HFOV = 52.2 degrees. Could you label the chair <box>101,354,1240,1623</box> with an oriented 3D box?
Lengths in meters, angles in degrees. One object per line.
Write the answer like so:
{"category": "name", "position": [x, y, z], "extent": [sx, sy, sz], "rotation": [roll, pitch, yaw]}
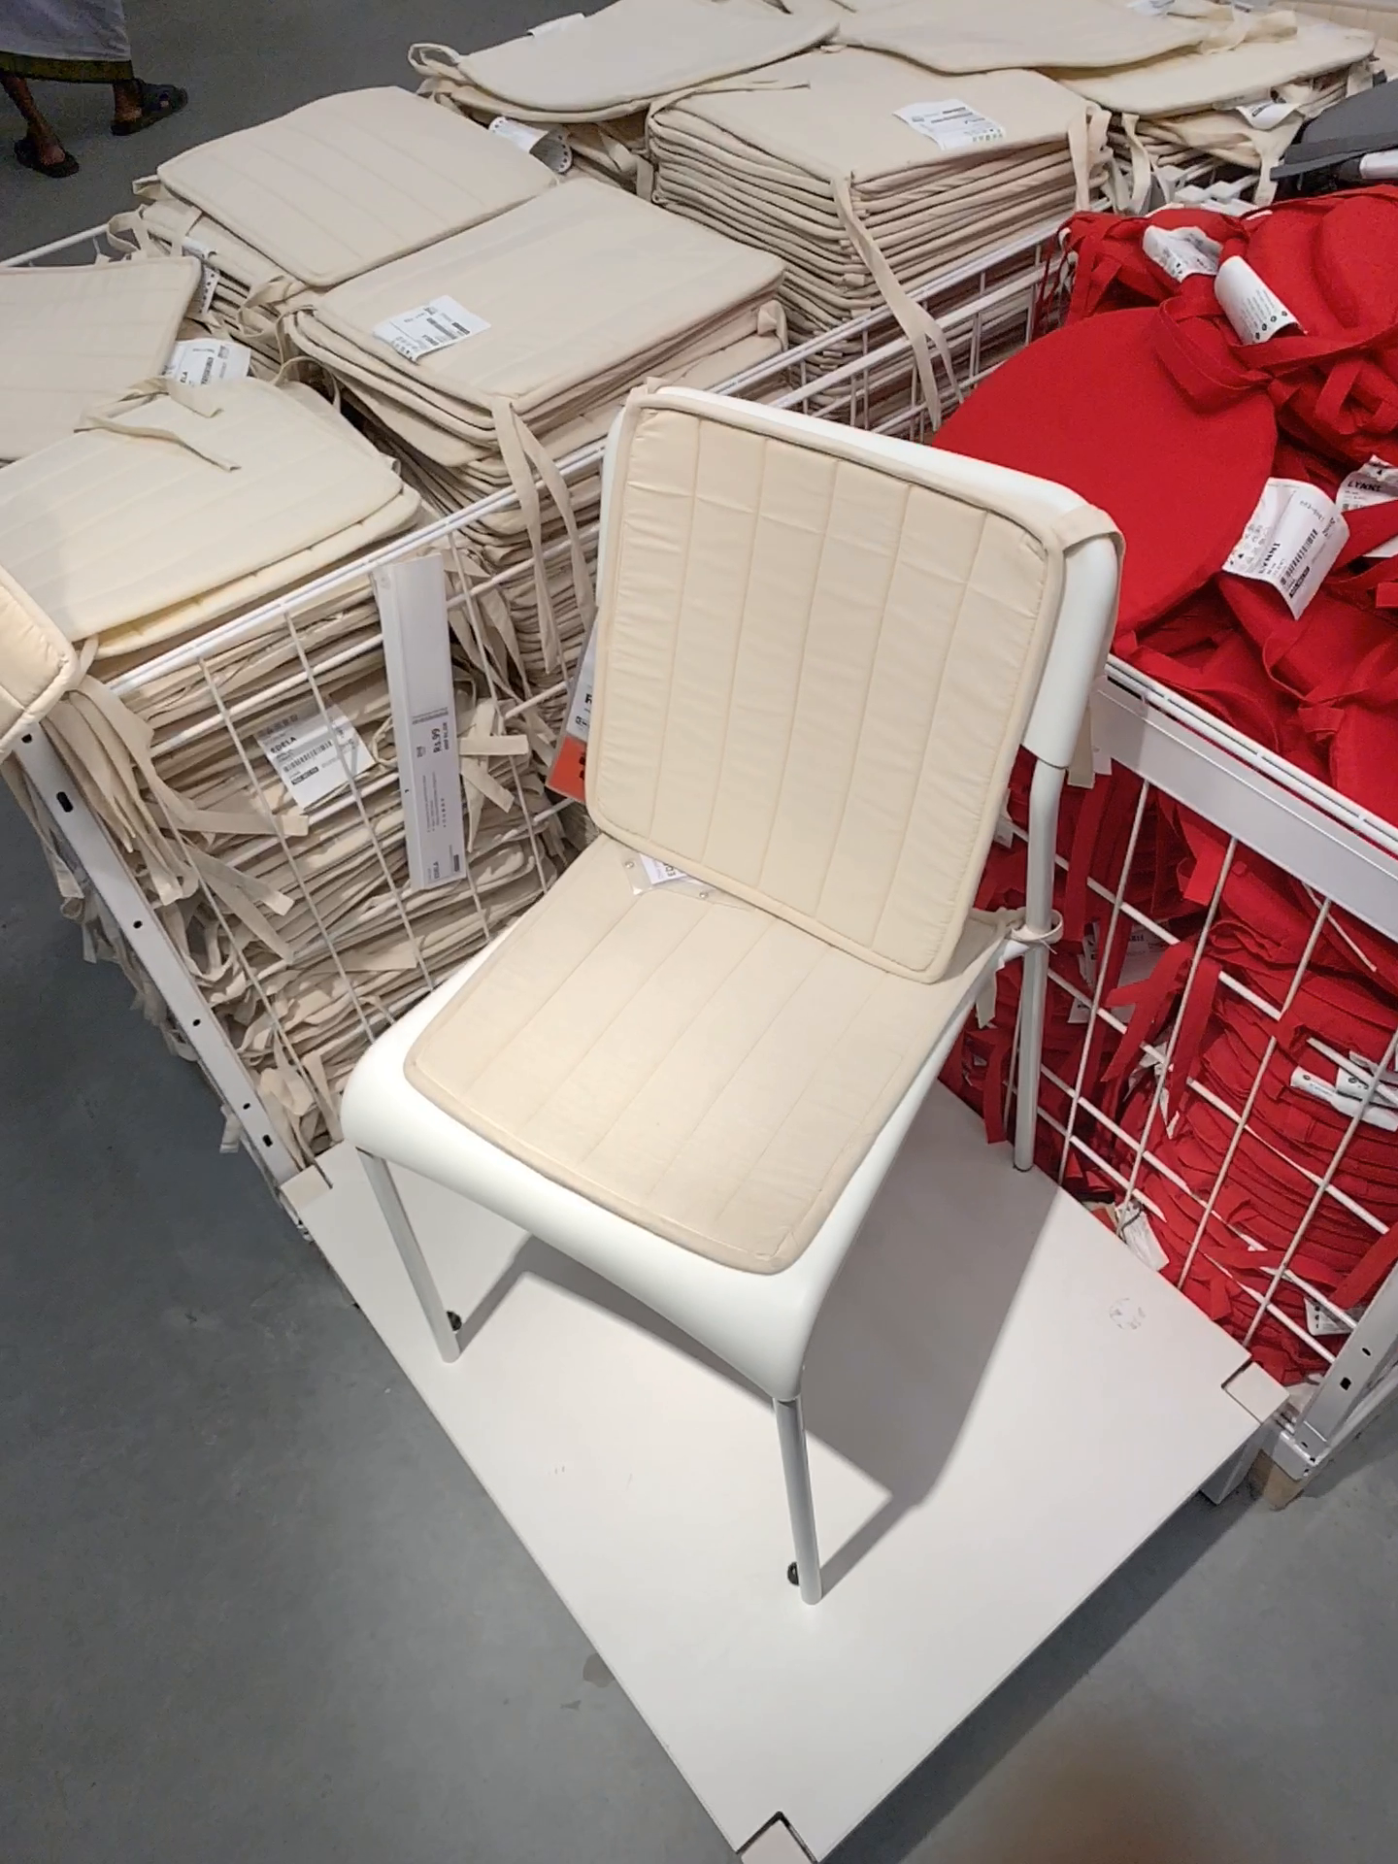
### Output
{"category": "chair", "position": [0.027, 0.064, 1.044], "extent": [0.431, 0.698, 0.481], "rotation": [24, 56, 25]}
